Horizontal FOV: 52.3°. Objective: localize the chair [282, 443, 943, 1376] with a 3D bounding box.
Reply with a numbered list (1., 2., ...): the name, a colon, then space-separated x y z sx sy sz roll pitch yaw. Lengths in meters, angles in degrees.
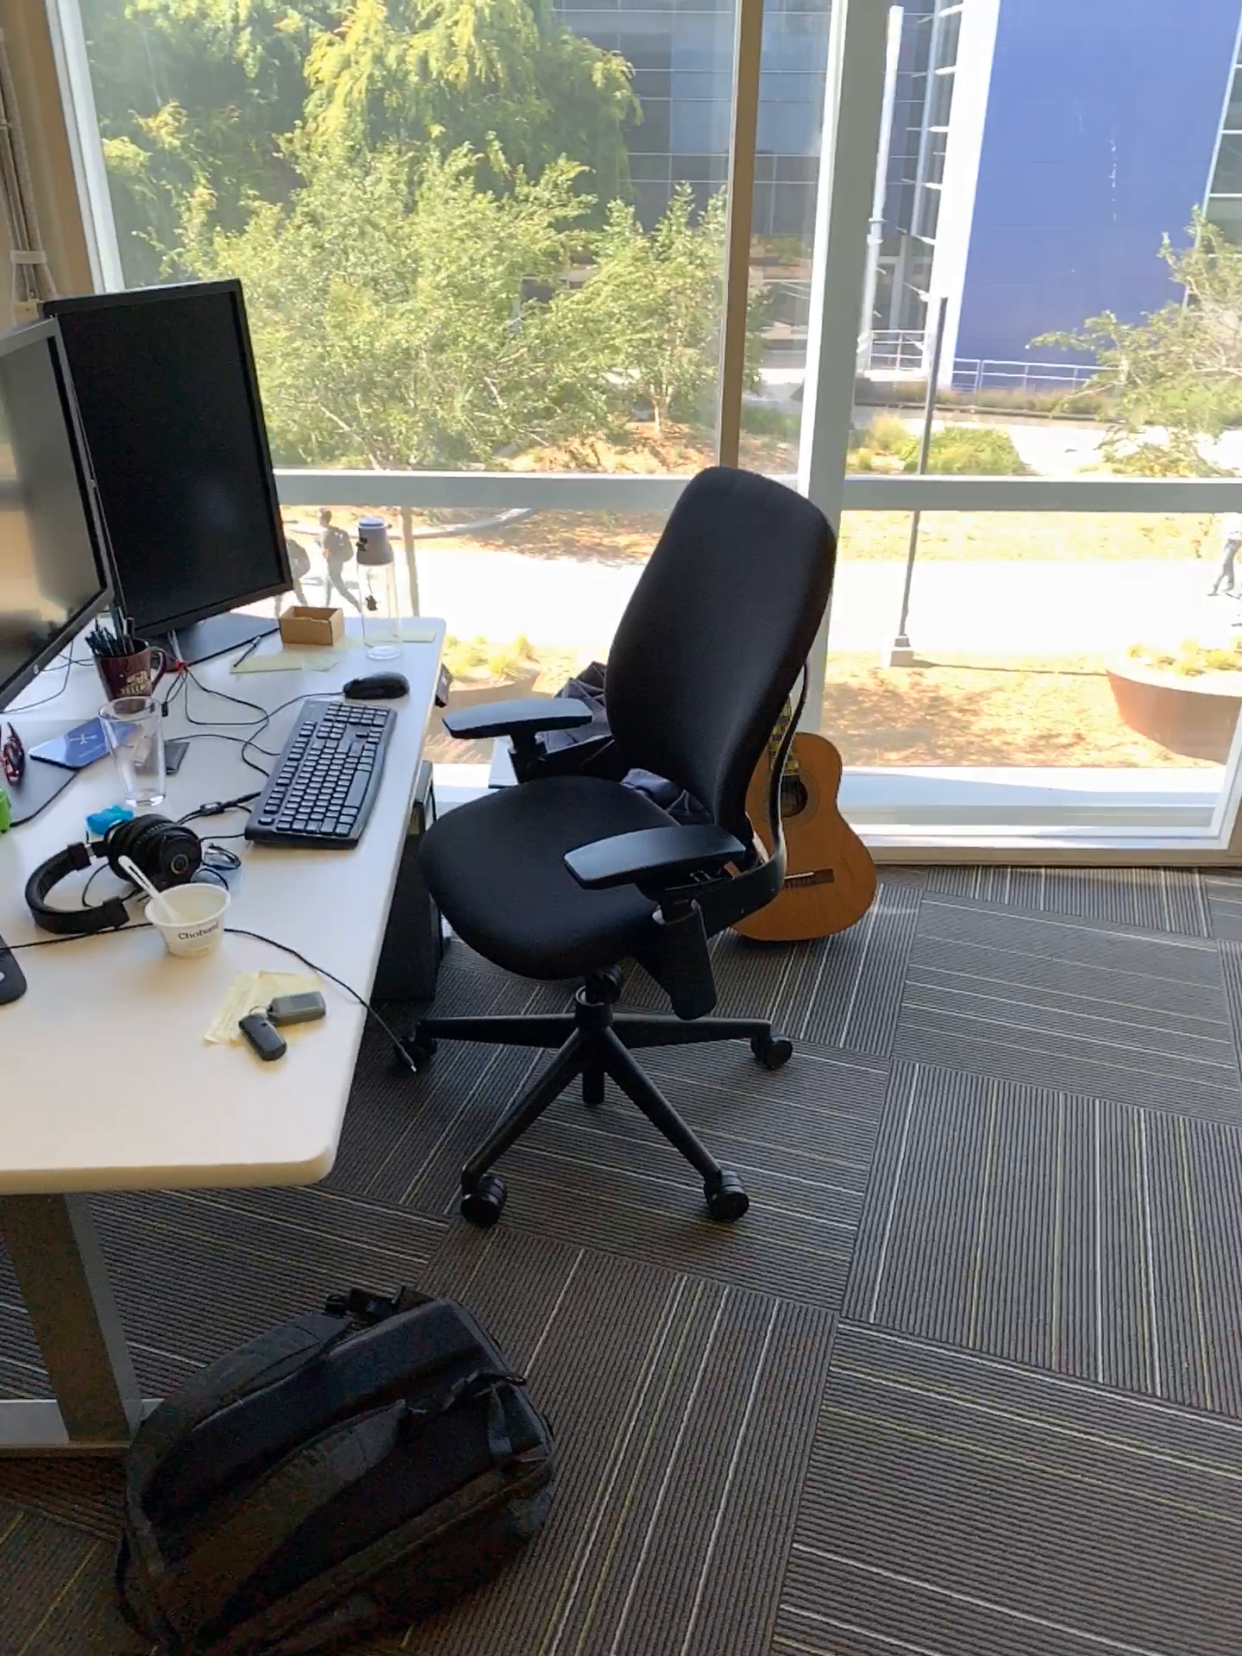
1. chair: -0.048 0.087 2.110 0.690 1.223 0.714 -15 32 -26
